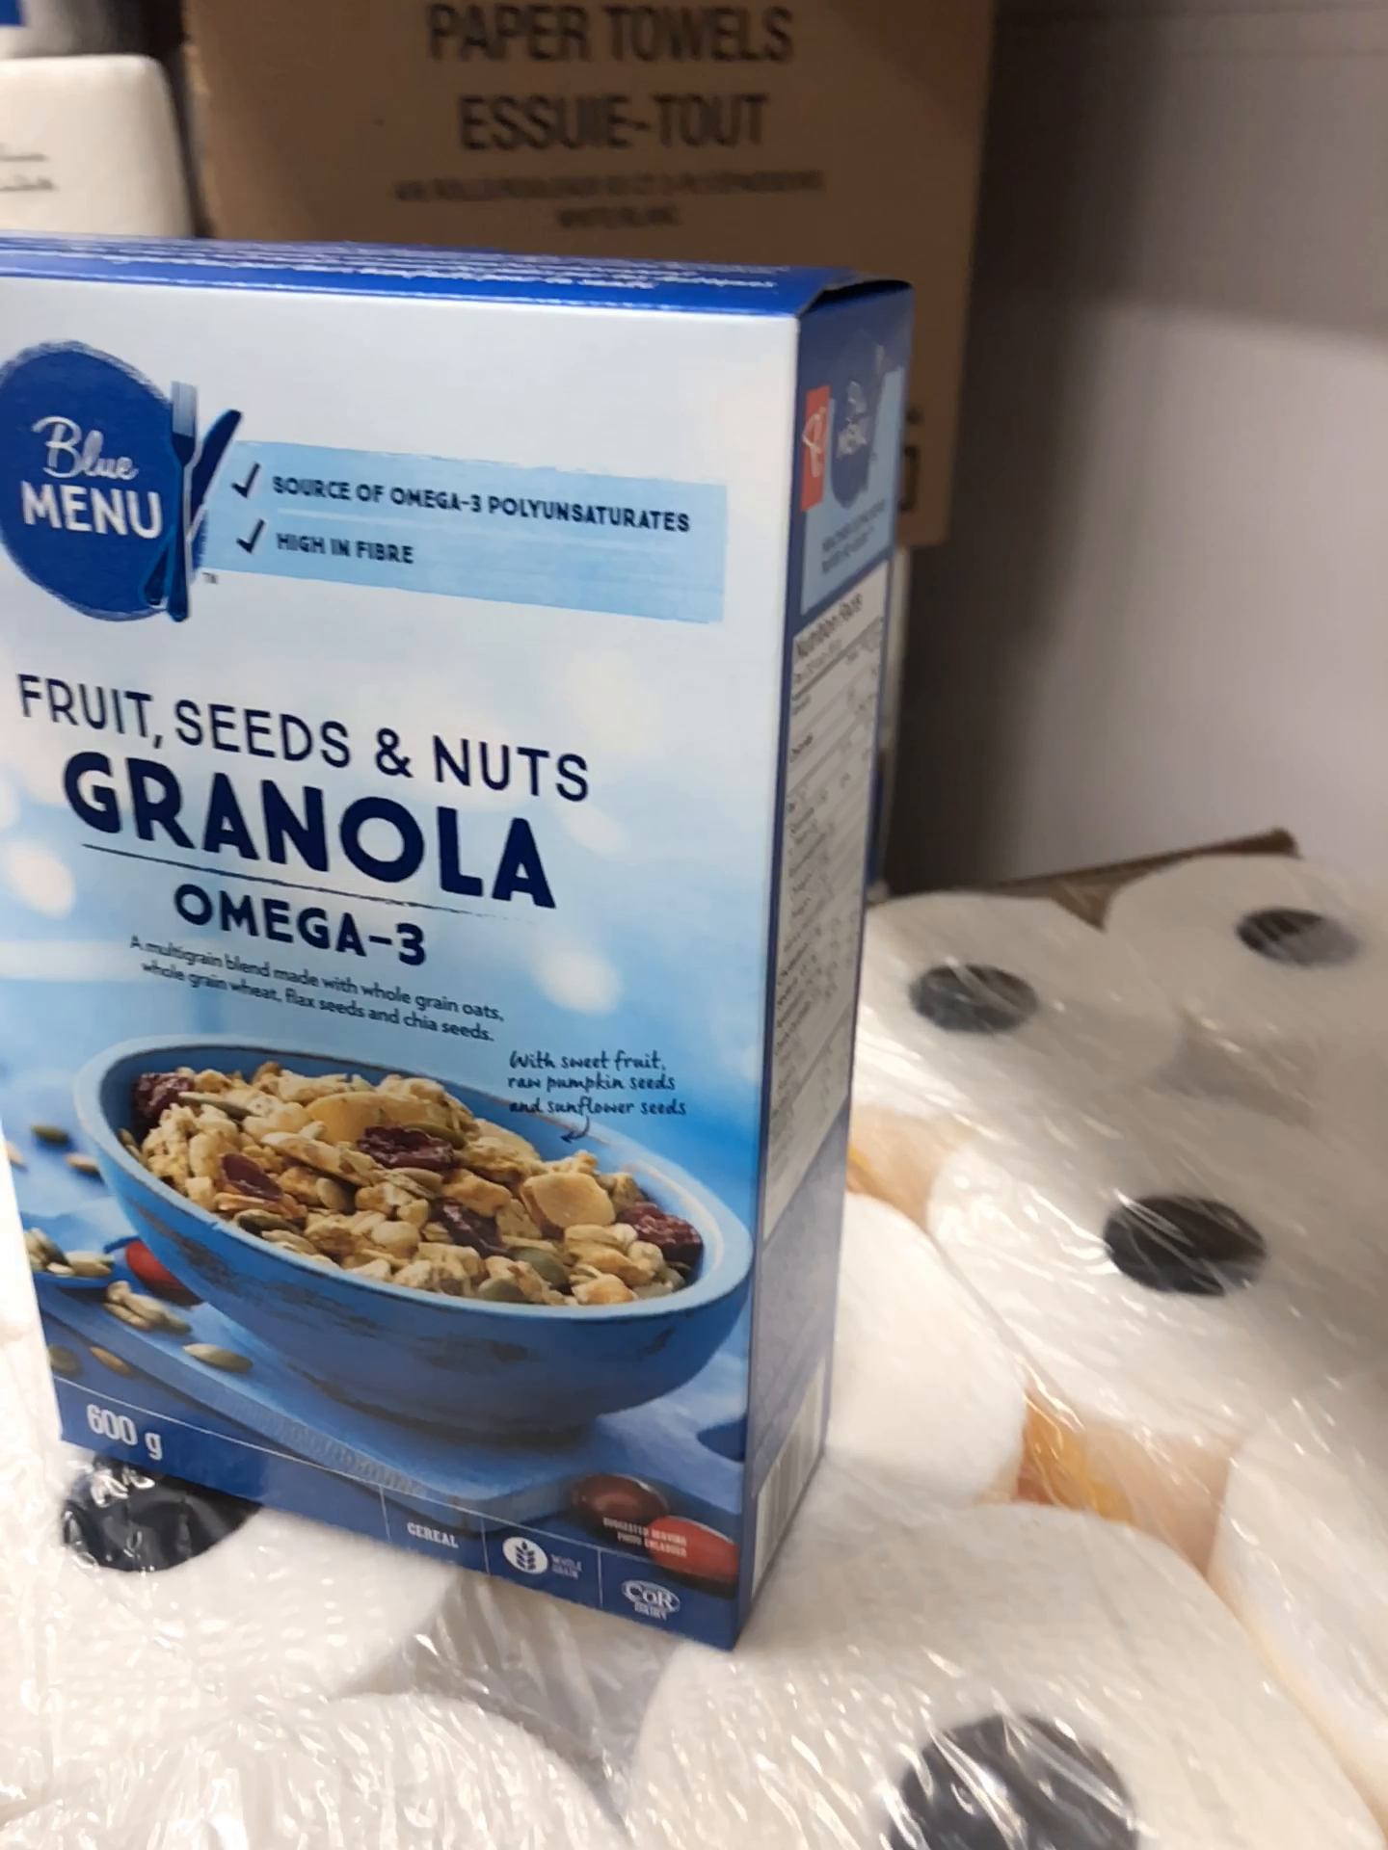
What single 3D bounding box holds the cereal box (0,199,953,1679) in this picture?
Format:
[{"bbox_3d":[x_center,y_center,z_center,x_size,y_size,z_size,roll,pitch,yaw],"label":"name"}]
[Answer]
[{"bbox_3d":[-0.048,0.003,0.280,0.160,0.239,0.060,10,28,19],"label":"cereal box"}]
